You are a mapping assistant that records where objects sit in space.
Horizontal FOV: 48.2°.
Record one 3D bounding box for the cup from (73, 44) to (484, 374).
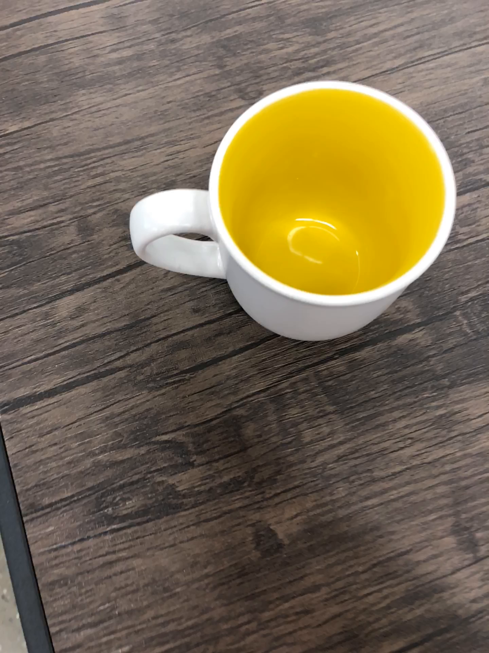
[{"bbox_3d":[0.008,-0.045,0.248,0.140,0.090,0.100,-7,75,-3],"label":"cup"}]
